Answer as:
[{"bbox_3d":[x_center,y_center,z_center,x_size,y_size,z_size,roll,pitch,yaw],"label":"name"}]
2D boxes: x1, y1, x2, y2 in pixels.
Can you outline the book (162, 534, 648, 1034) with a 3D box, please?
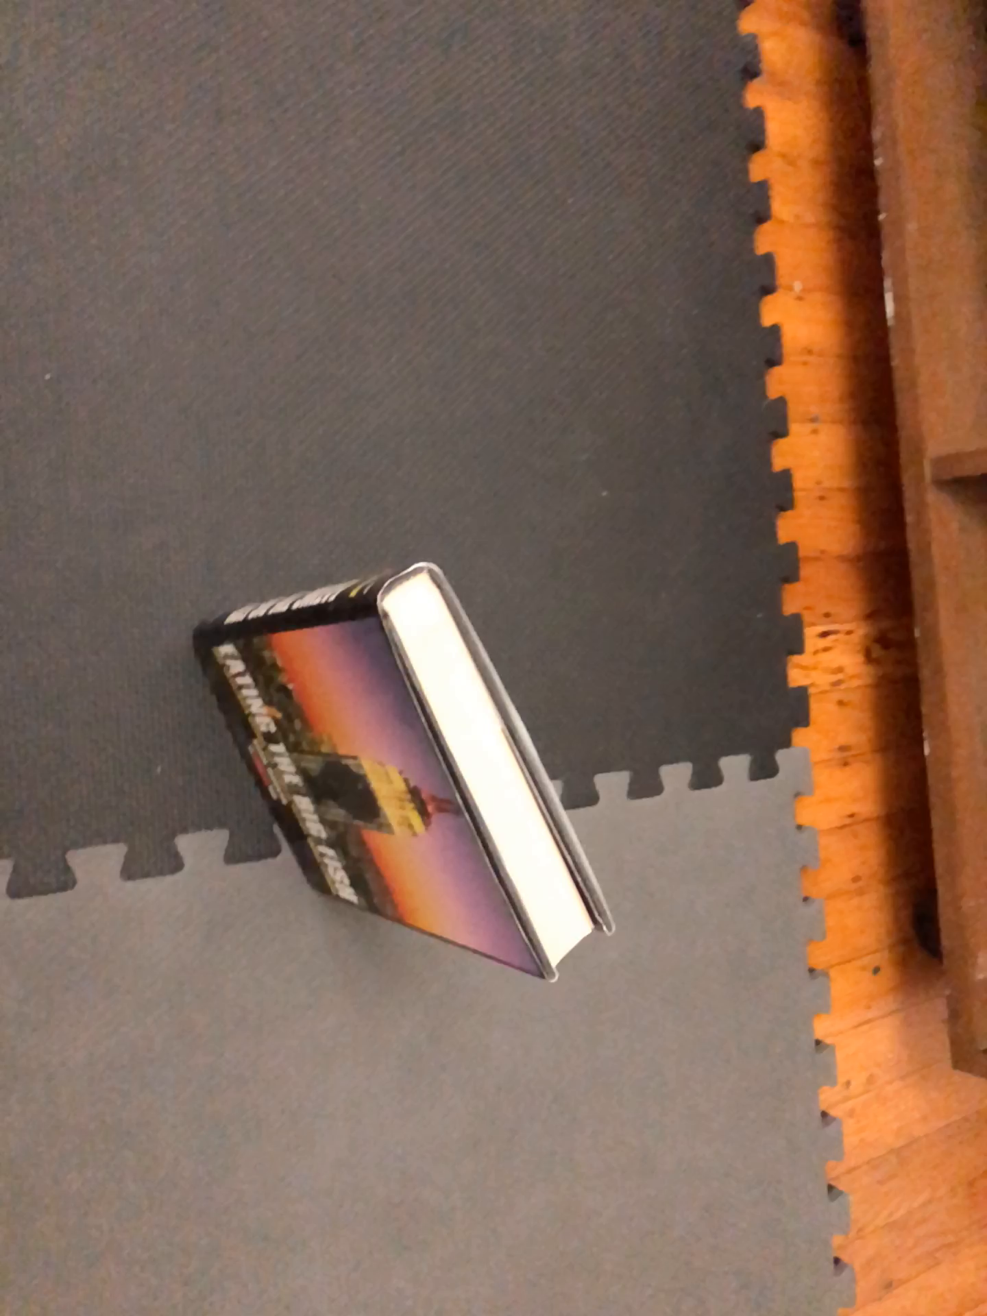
[{"bbox_3d":[-0.060,0.052,0.506,0.050,0.259,0.180,-31,103,-26],"label":"book"}]
